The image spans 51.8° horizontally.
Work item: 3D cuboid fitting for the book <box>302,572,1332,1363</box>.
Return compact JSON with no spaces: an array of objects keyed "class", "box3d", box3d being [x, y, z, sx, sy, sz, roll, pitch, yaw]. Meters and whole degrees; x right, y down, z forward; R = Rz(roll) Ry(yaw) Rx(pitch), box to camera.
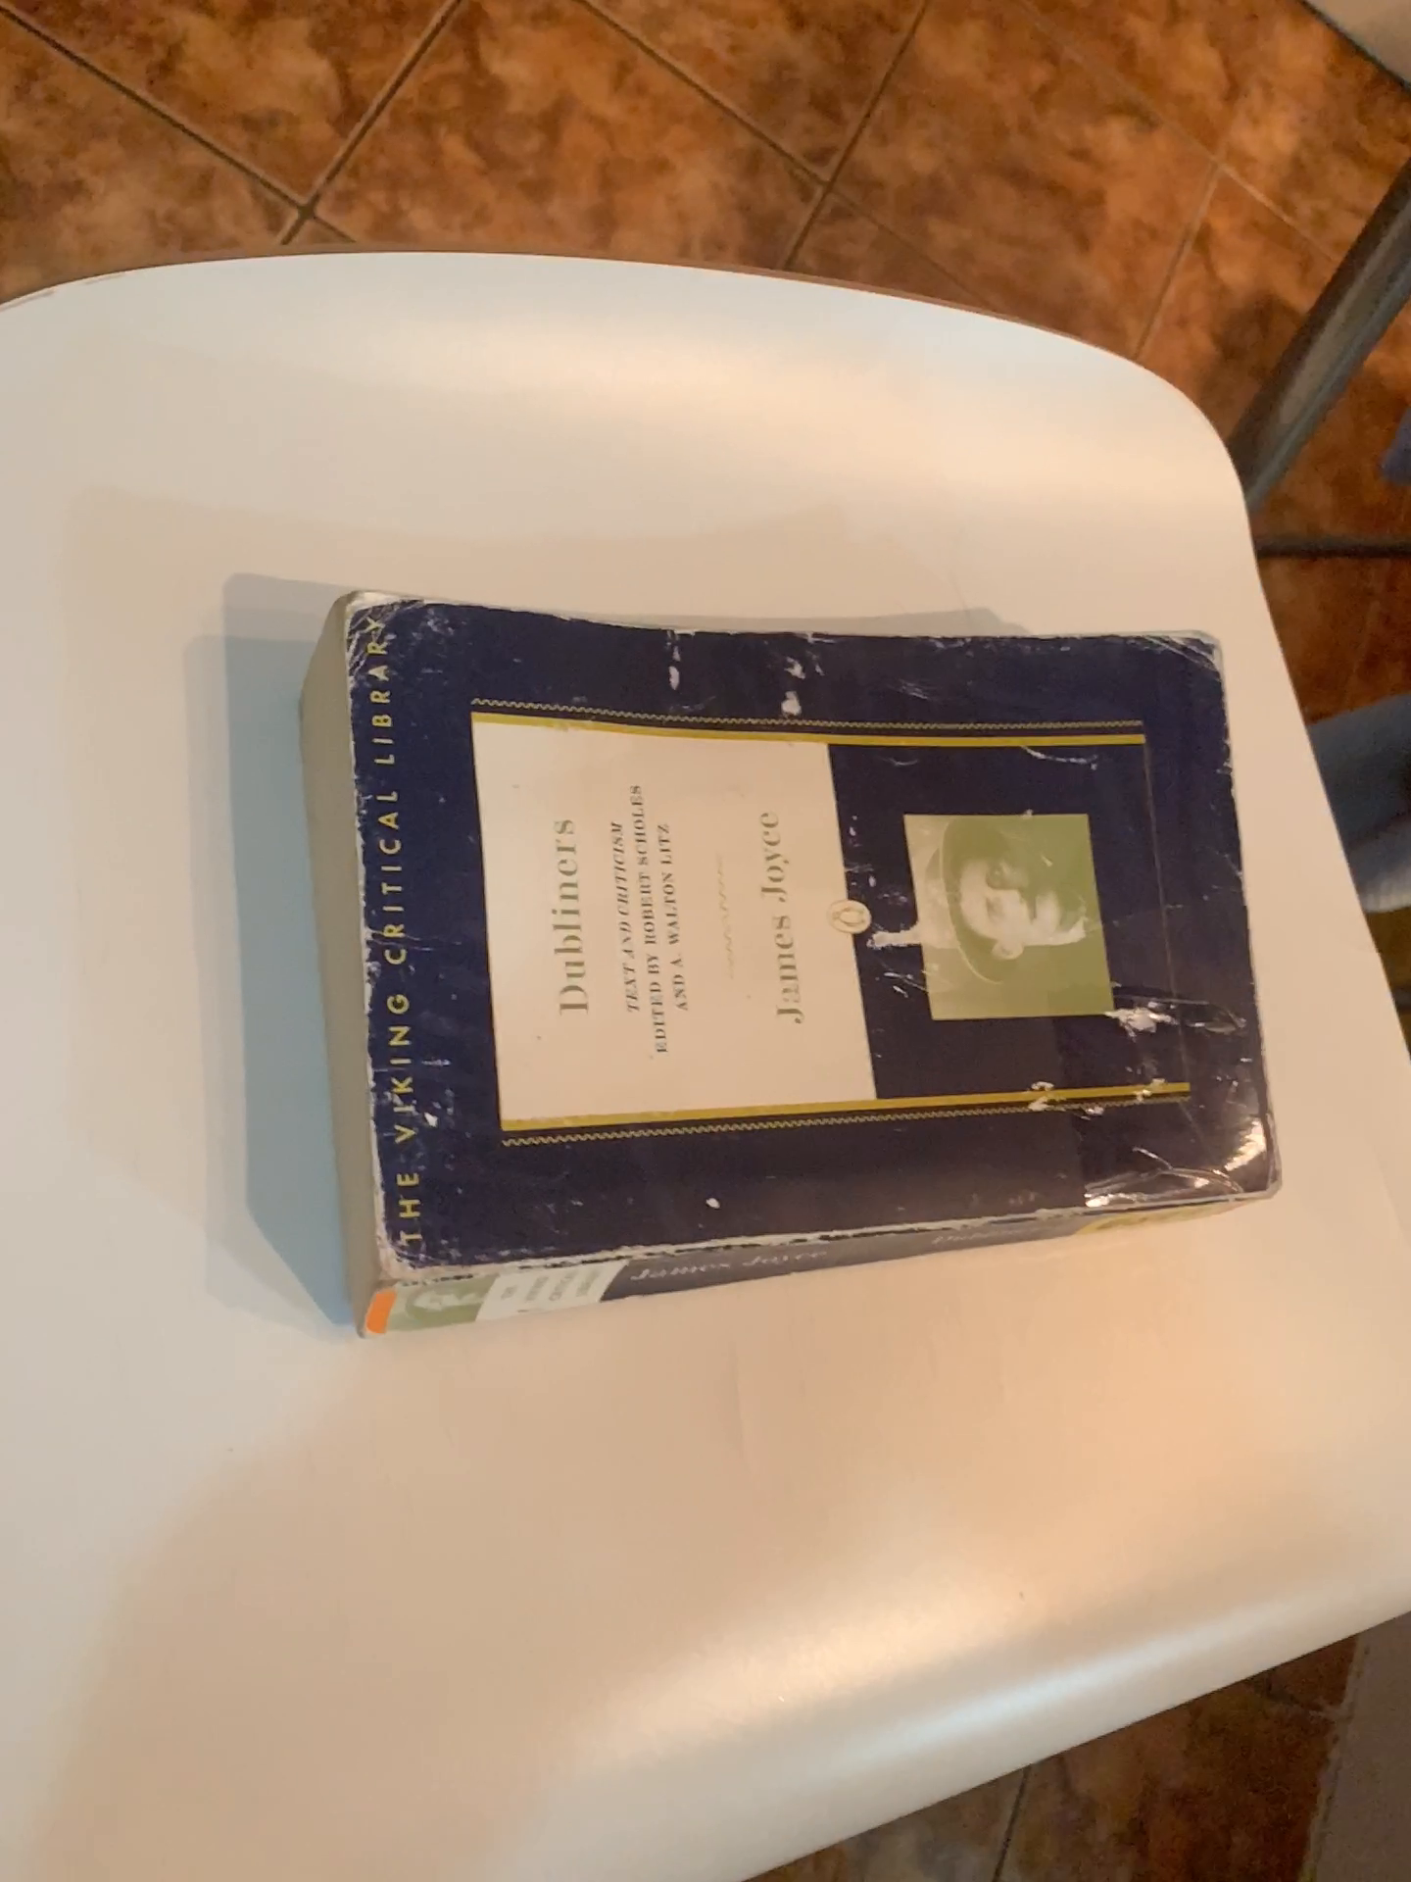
[{"class":"book","box3d":[0.027,0.001,0.293,0.198,0.035,0.132,-2,79,-24]}]
